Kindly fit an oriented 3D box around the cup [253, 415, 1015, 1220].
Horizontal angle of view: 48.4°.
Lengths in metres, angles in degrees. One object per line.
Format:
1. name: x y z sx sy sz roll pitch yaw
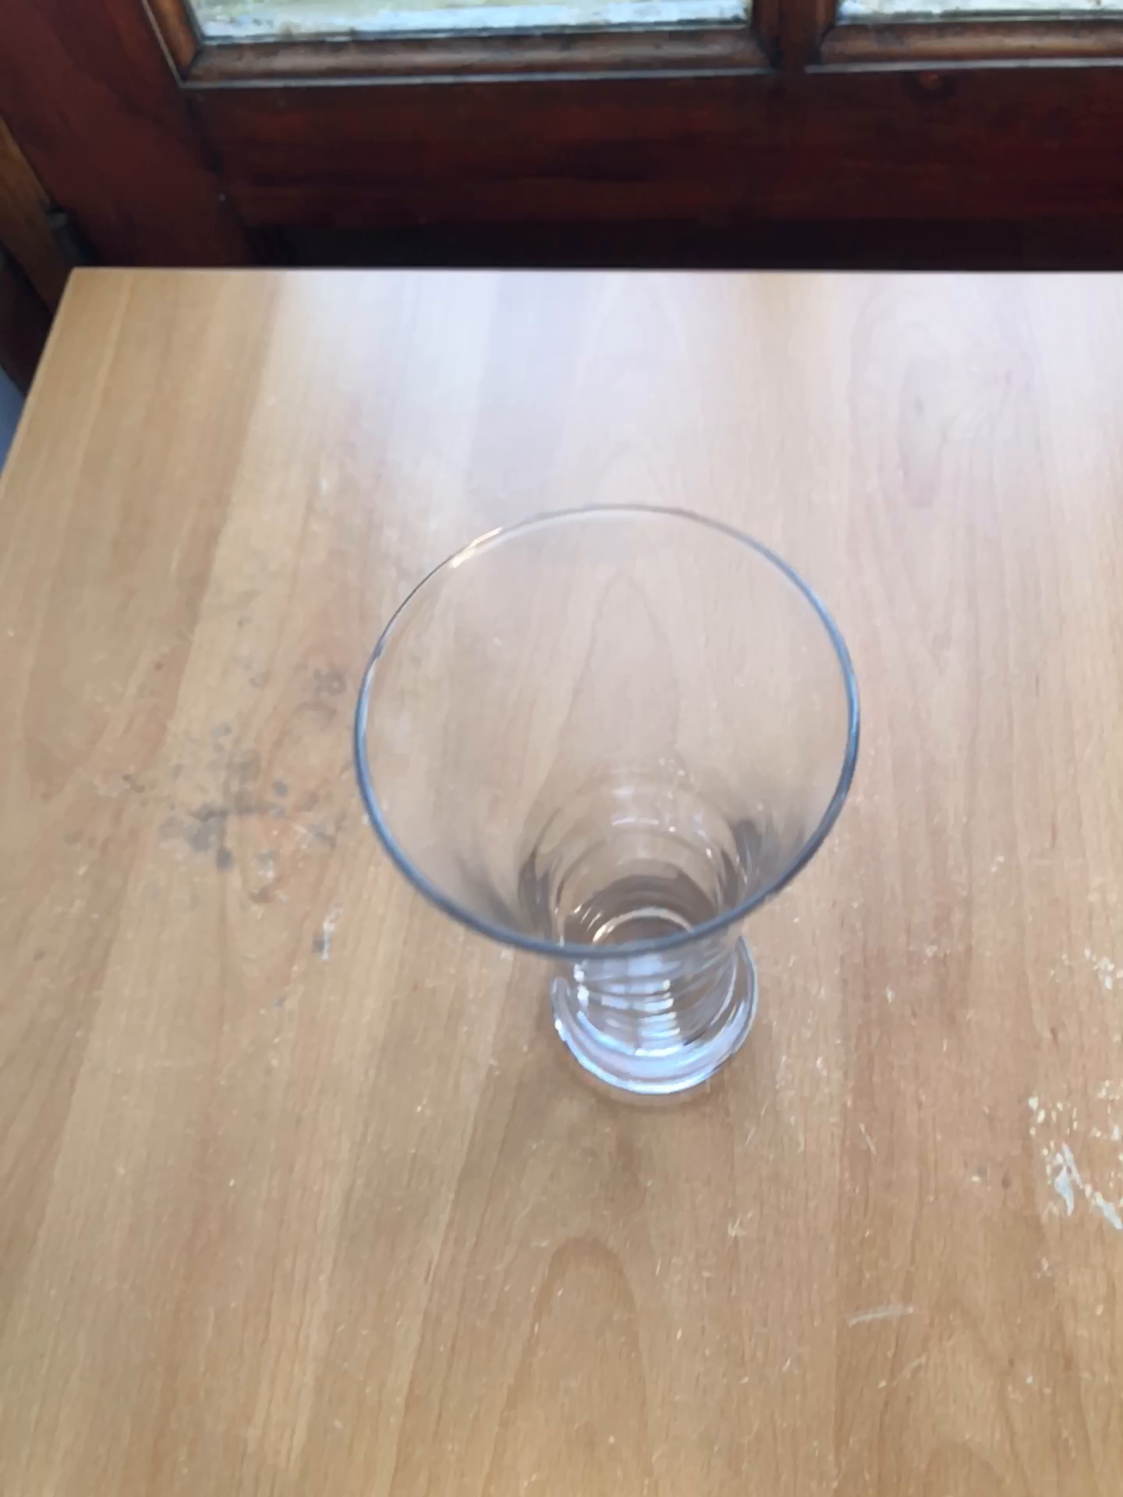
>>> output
1. cup: 0.016 0.031 0.260 0.076 0.169 0.082 -2 65 4
